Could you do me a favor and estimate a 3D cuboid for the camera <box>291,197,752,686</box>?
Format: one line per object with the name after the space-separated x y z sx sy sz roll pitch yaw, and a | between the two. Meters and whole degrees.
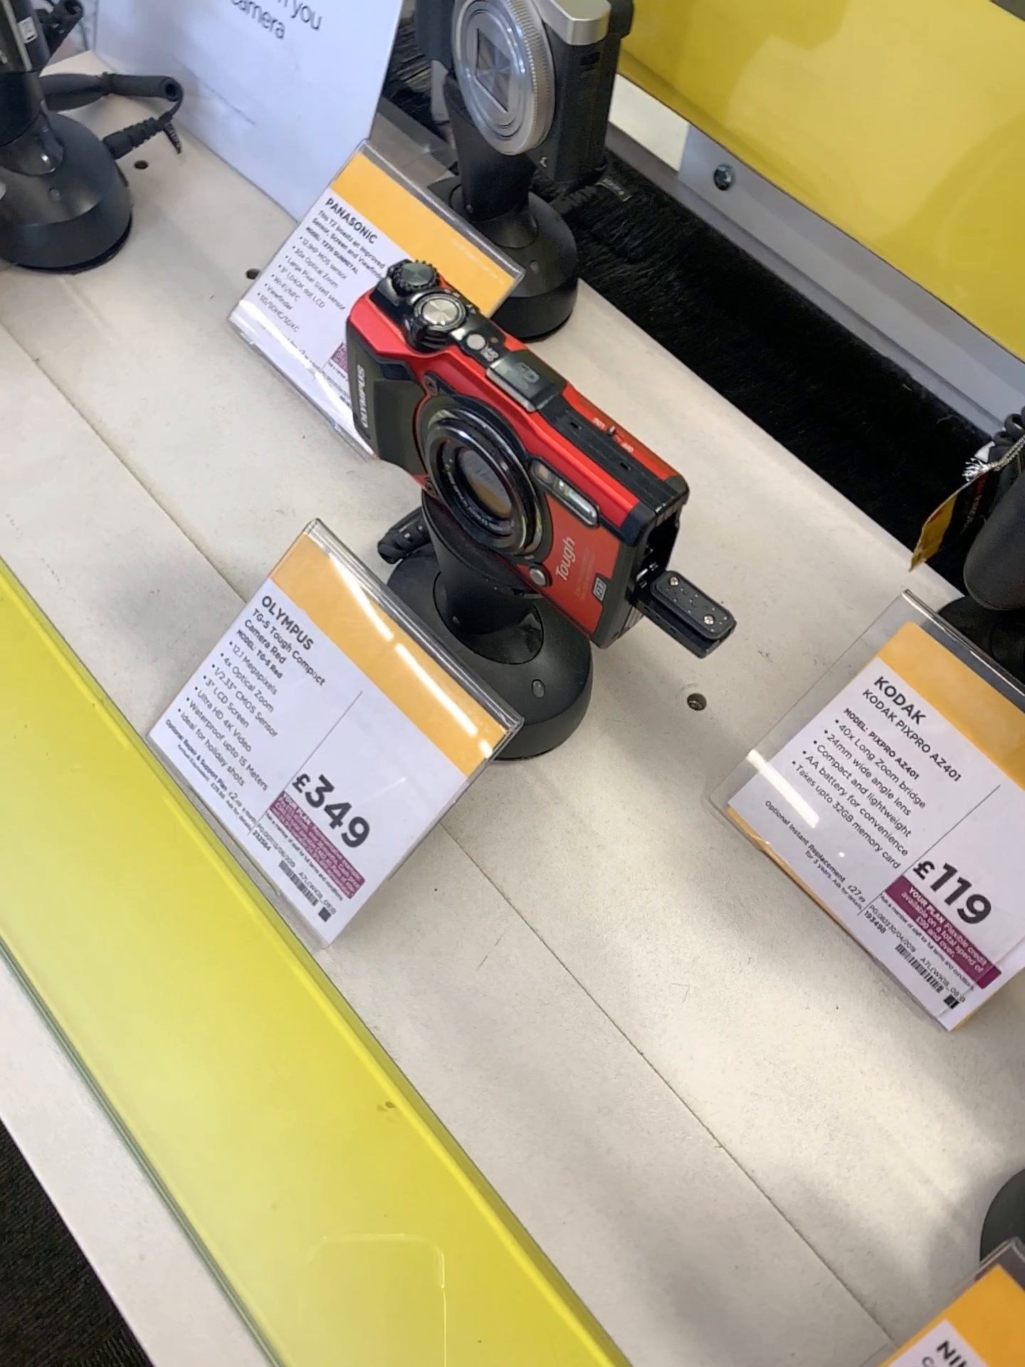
-0.002 -0.065 0.281 0.040 0.060 0.120 -39 71 -22 | camera
